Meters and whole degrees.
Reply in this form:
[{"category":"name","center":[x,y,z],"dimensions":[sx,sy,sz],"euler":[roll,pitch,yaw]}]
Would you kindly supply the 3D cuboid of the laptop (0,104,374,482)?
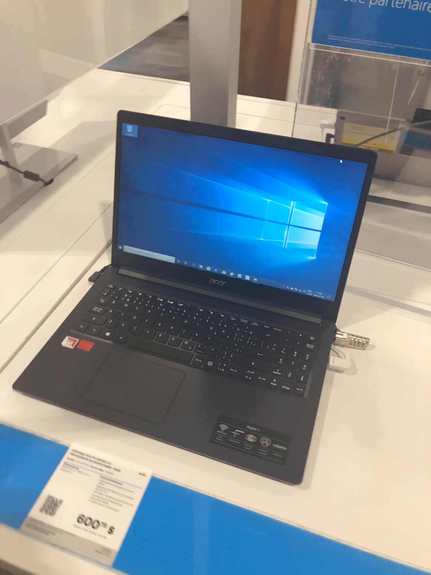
[{"category":"laptop","center":[-0.026,-0.029,0.612],"dimensions":[0.367,0.212,0.351],"euler":[14,46,14]}]
